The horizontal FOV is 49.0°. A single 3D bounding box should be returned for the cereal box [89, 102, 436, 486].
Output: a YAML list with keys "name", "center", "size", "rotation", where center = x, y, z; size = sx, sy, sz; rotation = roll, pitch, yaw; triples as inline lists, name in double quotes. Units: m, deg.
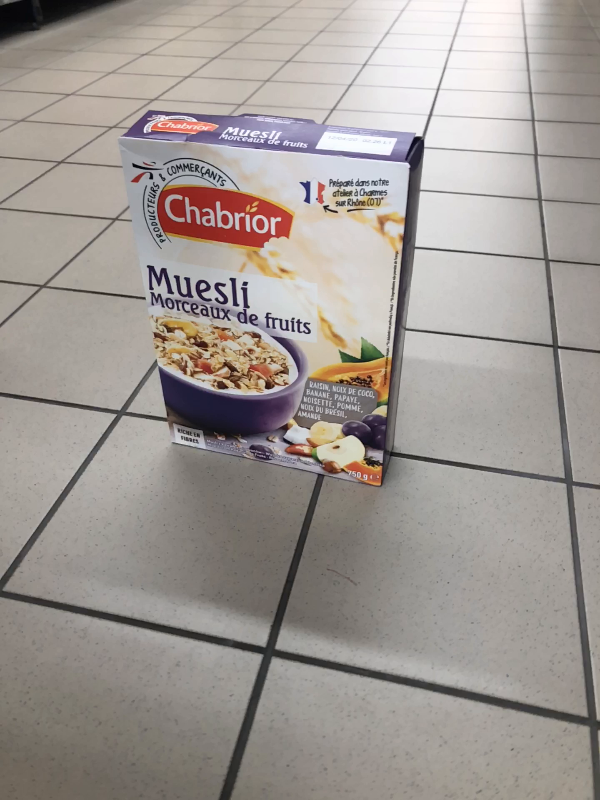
- name: "cereal box"
  center: [-0.022, -0.072, 0.500]
  size: [0.210, 0.259, 0.070]
  rotation: [11, 40, 14]
